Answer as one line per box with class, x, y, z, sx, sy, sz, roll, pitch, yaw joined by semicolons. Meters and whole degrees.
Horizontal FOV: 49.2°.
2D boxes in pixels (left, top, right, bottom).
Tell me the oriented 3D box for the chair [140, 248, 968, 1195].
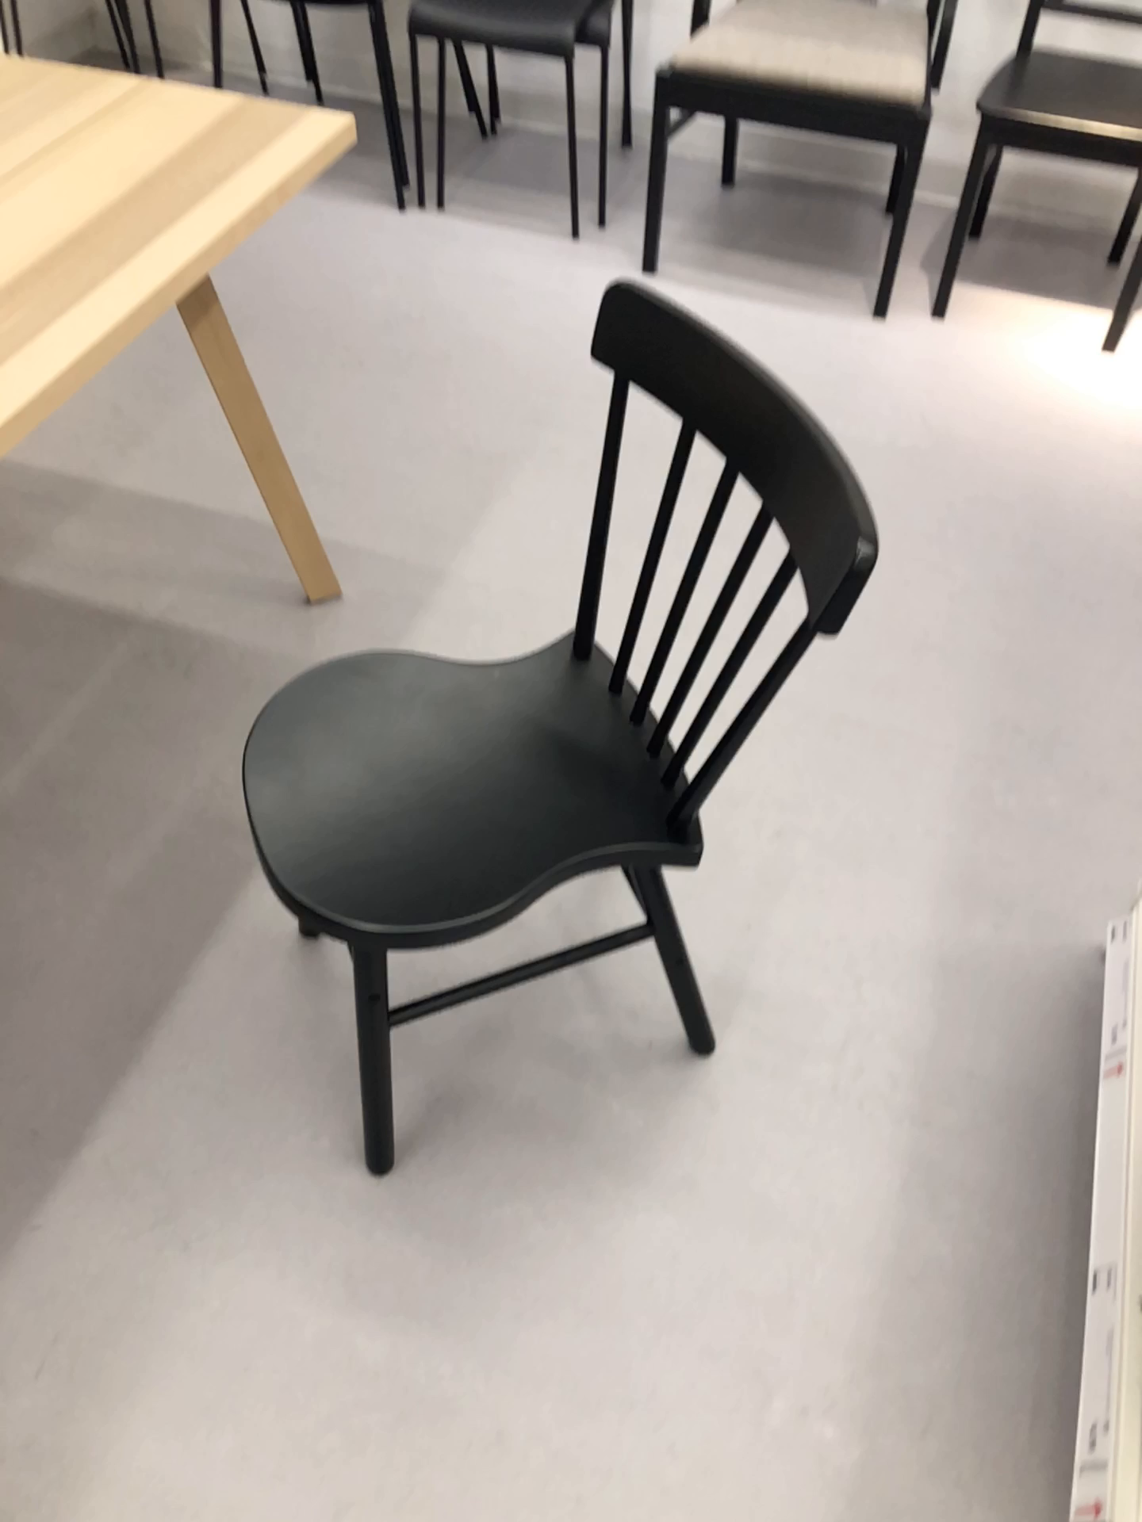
chair;-0.050;-0.020;1.249;0.520;0.716;0.483;-15;50;-15
